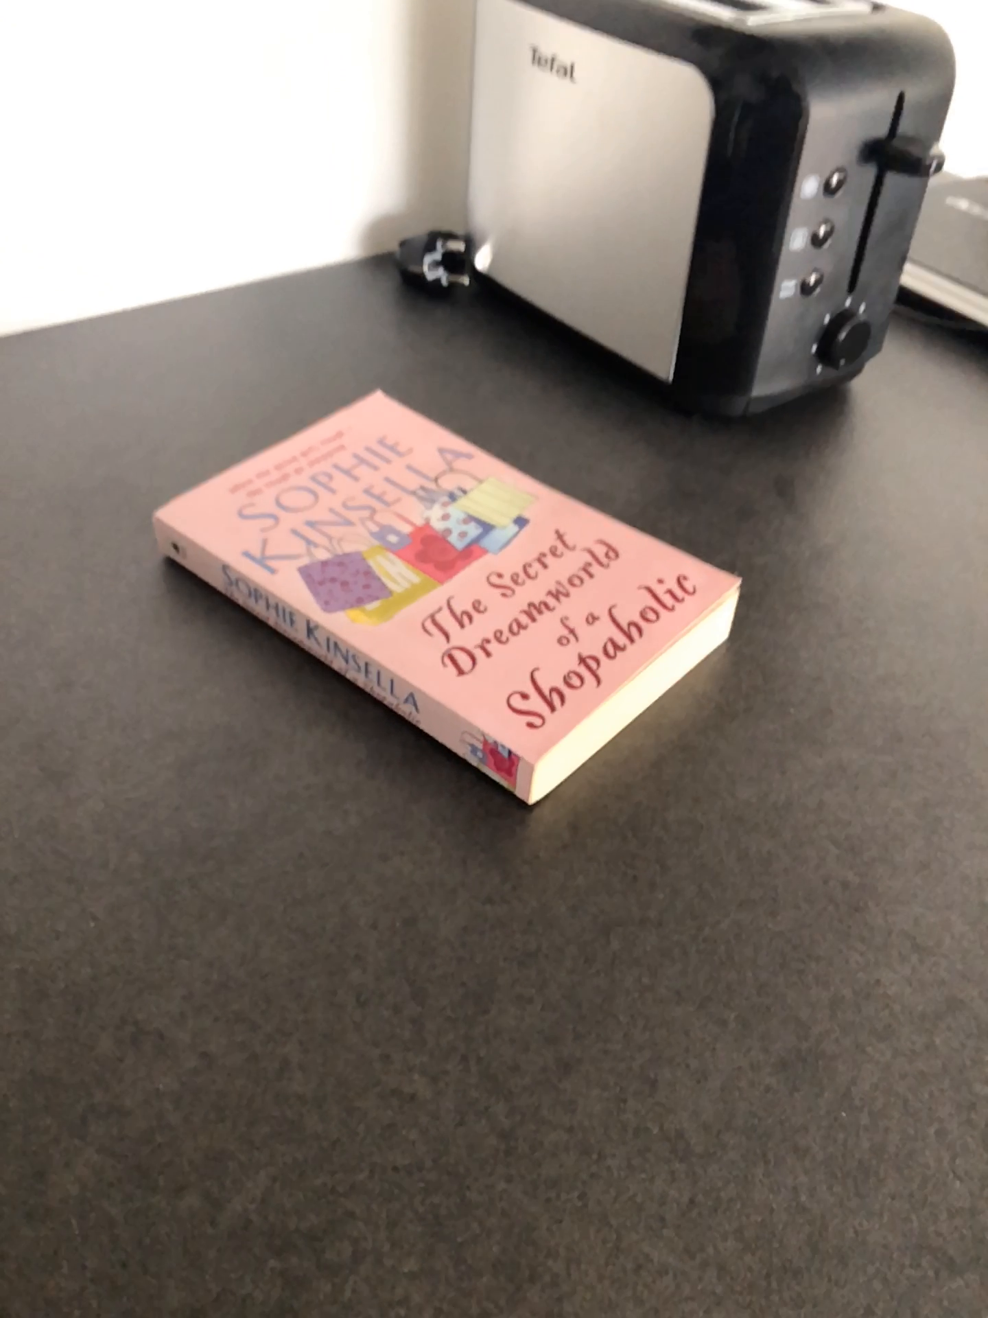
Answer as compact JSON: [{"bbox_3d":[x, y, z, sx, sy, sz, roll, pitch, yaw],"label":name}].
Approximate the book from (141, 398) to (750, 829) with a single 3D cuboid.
[{"bbox_3d":[-0.021,-0.033,0.434,0.200,0.030,0.131,31,47,26],"label":"book"}]
